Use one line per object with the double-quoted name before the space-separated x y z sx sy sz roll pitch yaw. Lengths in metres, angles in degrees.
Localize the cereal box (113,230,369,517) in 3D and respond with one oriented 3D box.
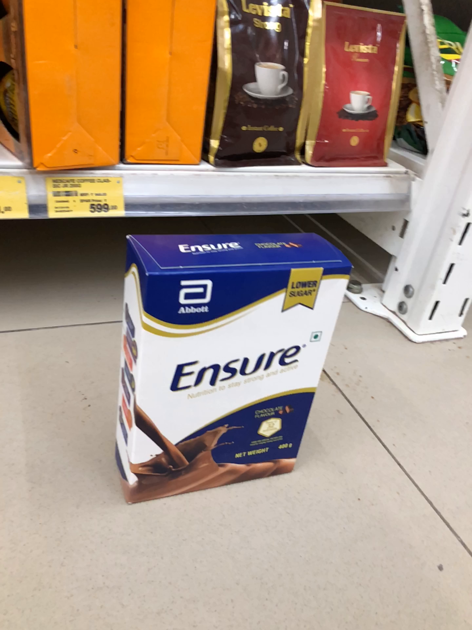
"cereal box" -0.008 0.039 0.354 0.140 0.179 0.060 -5 33 -21
